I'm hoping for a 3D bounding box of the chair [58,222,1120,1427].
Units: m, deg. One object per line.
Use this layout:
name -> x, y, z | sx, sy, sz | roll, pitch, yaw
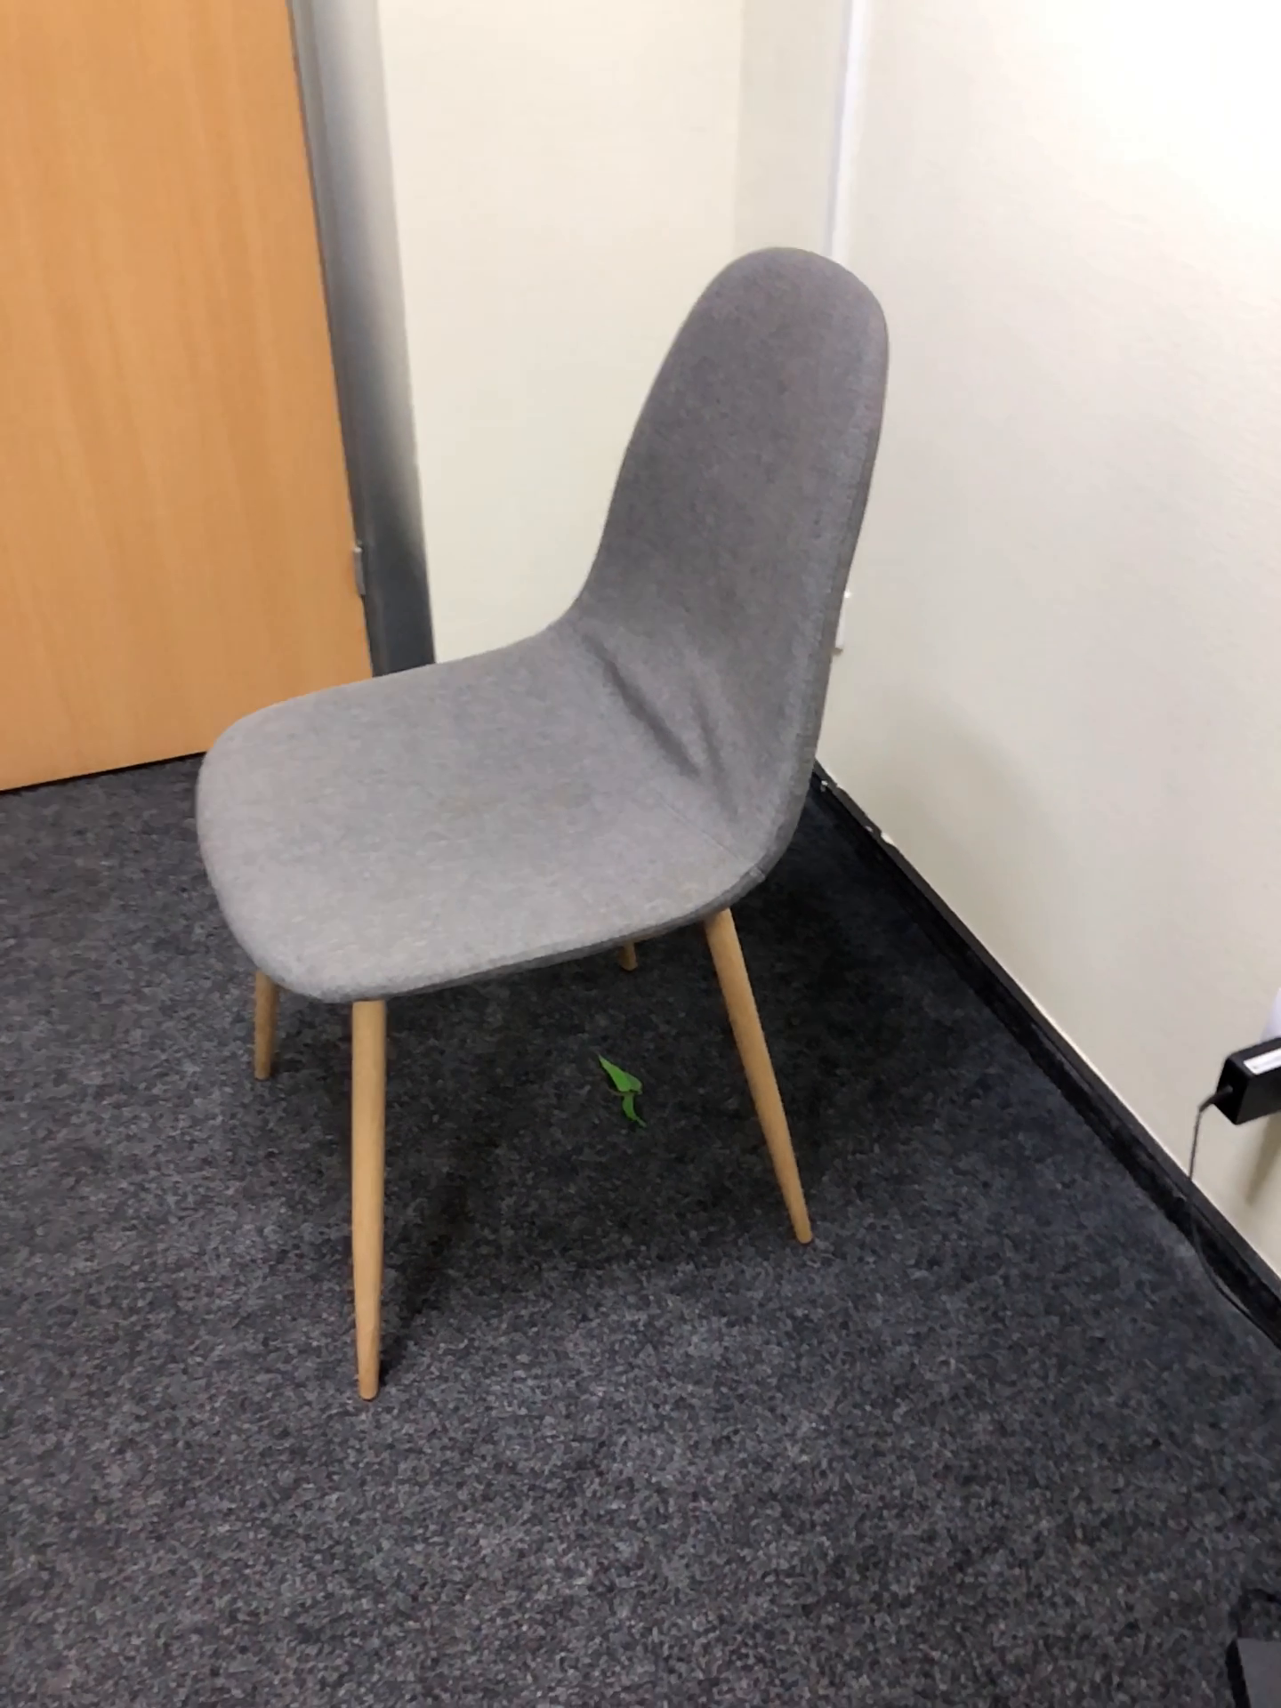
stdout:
chair -> -0.067, -0.045, 1.197 | 0.601, 0.785, 0.473 | -14, 39, -20
